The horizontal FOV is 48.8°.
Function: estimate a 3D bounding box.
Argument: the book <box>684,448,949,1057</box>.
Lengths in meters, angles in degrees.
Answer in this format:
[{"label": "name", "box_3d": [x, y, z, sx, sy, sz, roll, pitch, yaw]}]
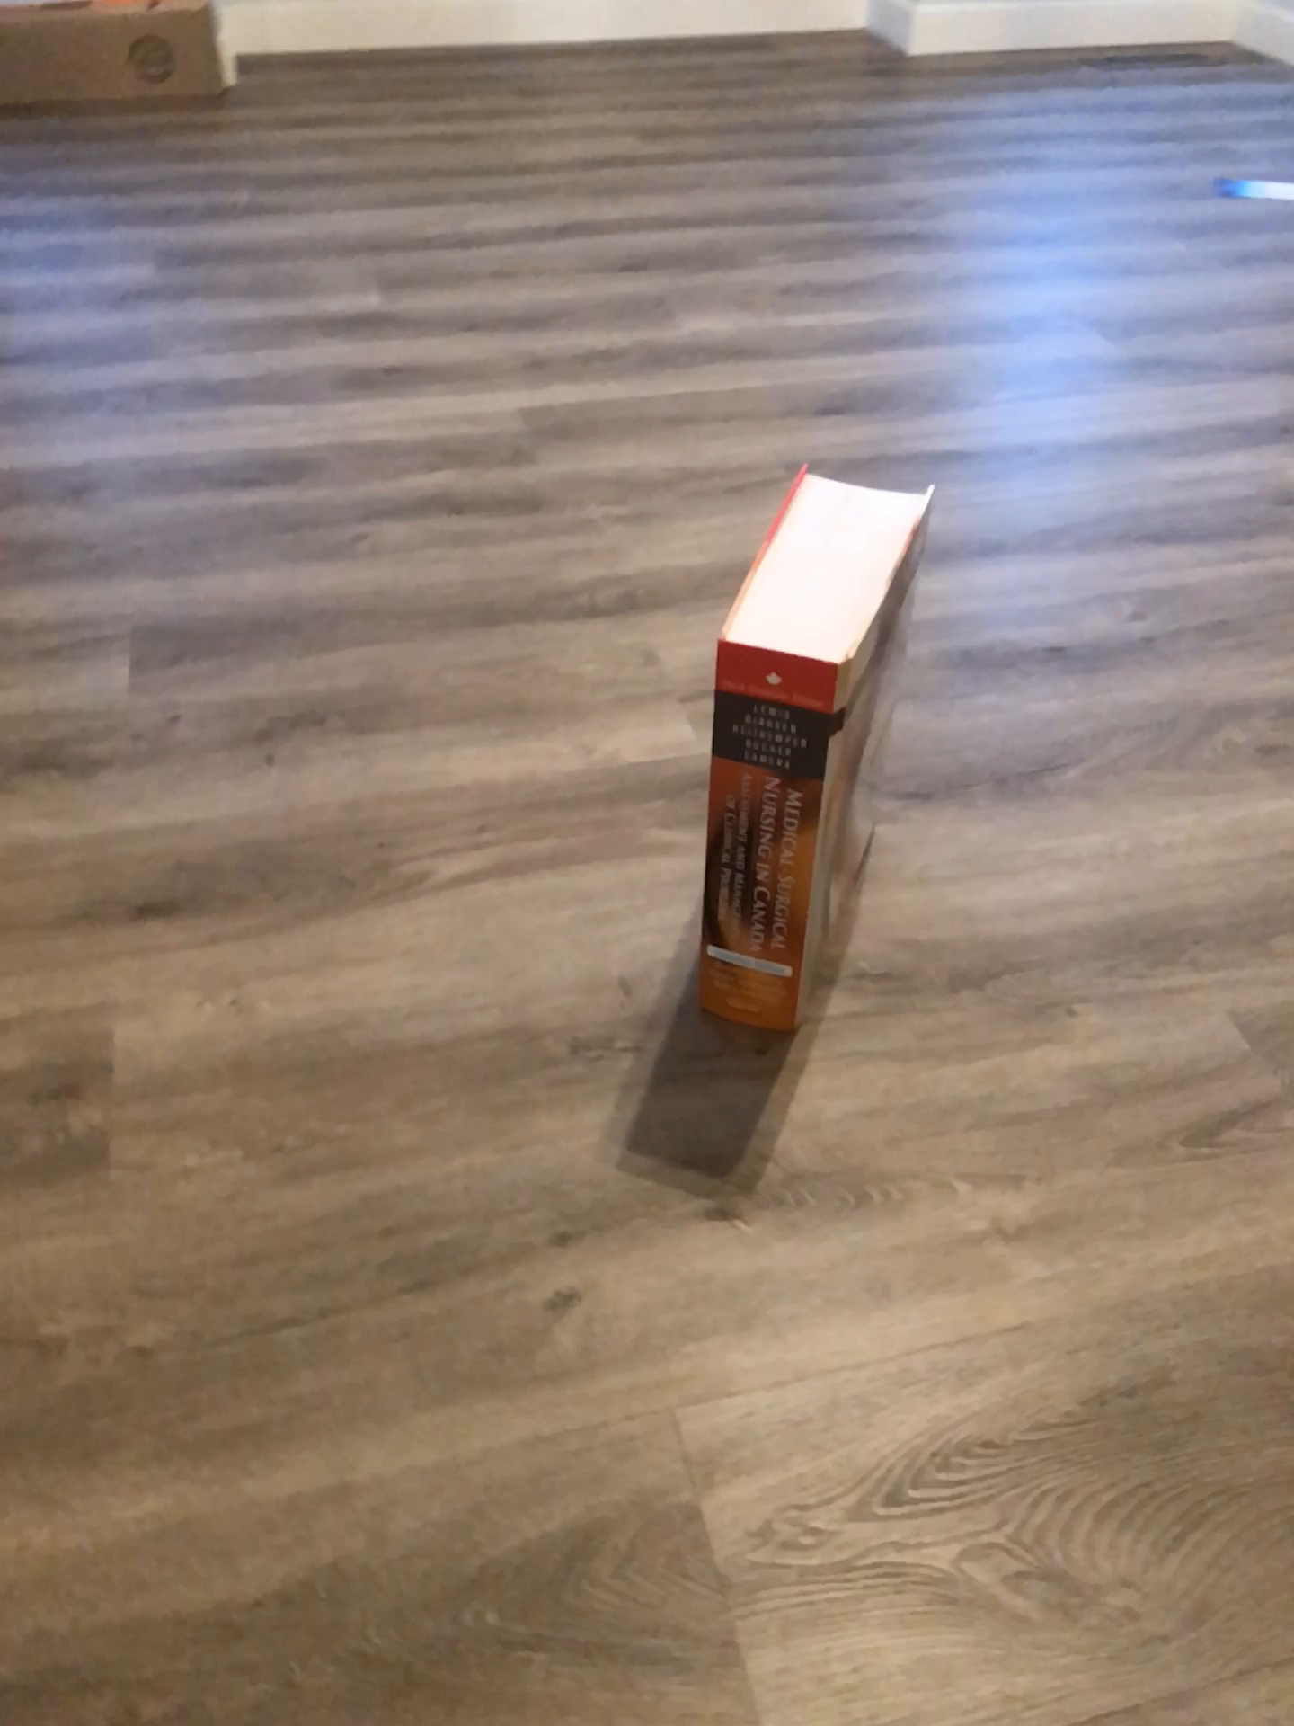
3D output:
[{"label": "book", "box_3d": [0.106, -0.071, 0.904, 0.087, 0.290, 0.241, 13, 41, 13]}]
